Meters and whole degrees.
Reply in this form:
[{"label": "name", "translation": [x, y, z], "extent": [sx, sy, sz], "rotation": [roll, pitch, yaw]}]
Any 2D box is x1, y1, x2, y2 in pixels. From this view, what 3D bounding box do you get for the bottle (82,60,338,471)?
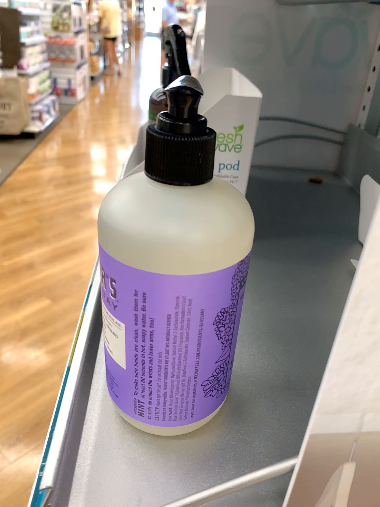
[{"label": "bottle", "translation": [-0.006, 0.008, 0.179], "extent": [0.070, 0.159, 0.080], "rotation": [-1, 31, -11]}]
